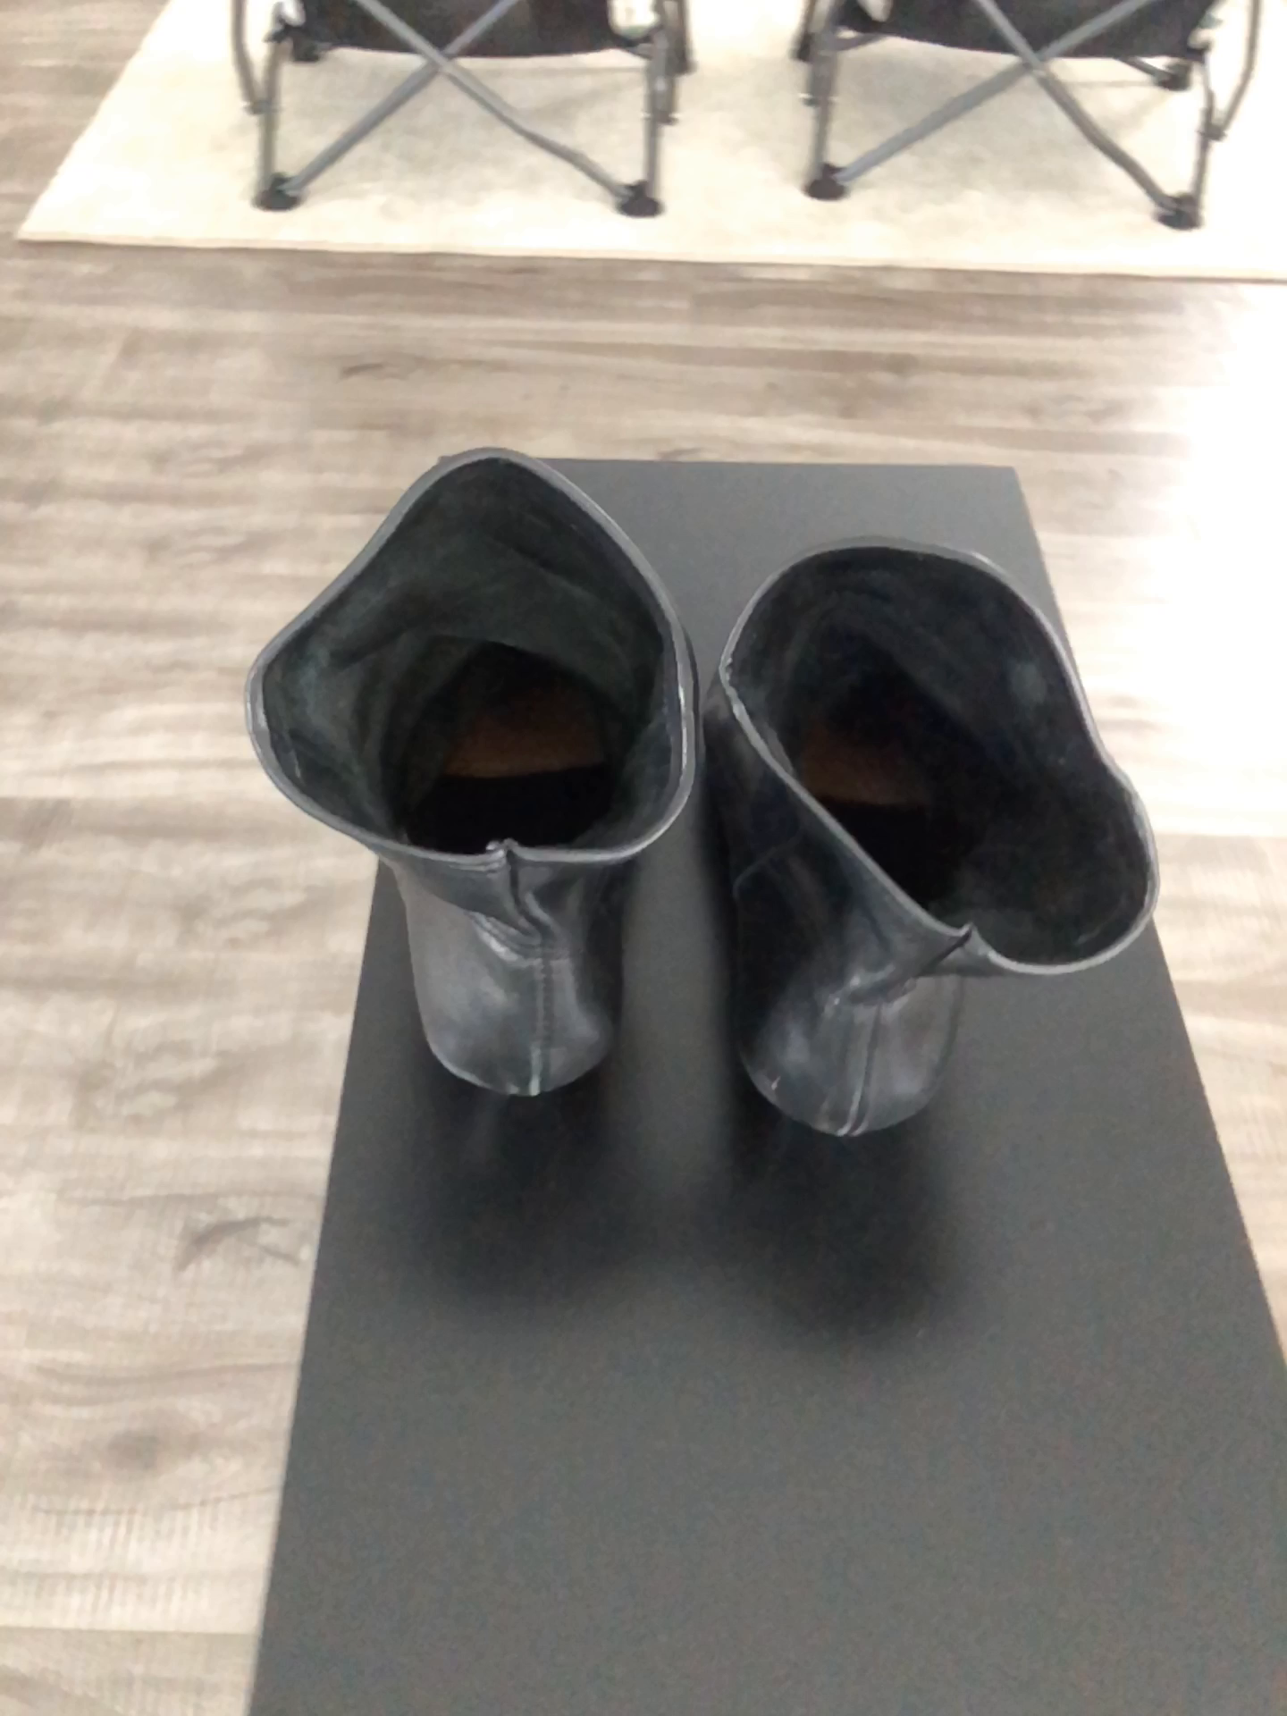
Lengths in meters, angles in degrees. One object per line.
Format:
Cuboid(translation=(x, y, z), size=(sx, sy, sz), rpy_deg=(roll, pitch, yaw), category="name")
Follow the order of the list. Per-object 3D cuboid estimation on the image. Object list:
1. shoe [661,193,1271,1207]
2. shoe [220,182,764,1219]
Cuboid(translation=(0.063, -0.054, 0.415), size=(0.101, 0.170, 0.251), rpy_deg=(0, 48, -2), category="shoe")
Cuboid(translation=(-0.034, -0.055, 0.415), size=(0.101, 0.170, 0.261), rpy_deg=(0, 48, -2), category="shoe")
